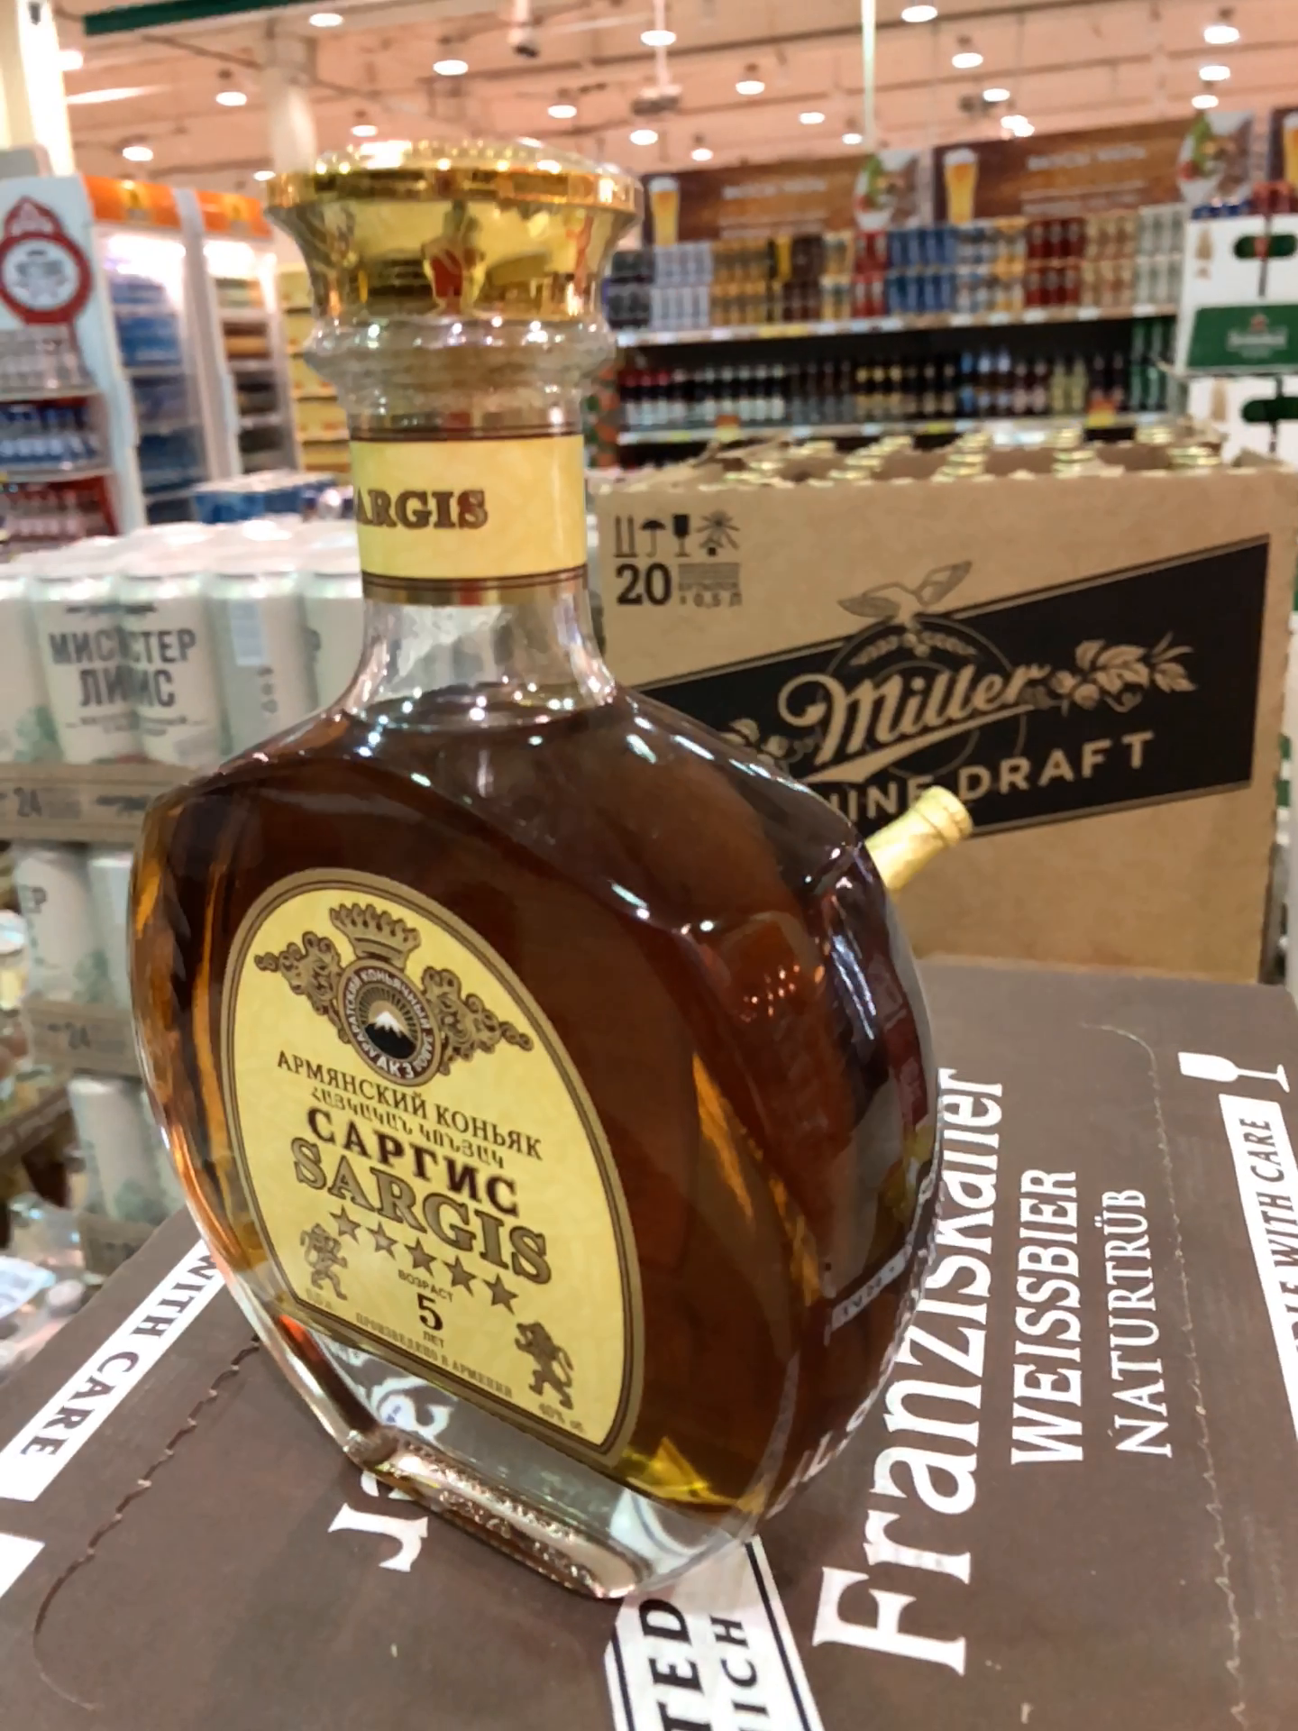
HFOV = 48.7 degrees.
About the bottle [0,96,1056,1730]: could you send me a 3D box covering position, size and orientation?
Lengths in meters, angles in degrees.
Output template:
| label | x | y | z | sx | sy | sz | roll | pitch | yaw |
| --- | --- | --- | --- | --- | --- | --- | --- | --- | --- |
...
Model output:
| label | x | y | z | sx | sy | sz | roll | pitch | yaw |
| --- | --- | --- | --- | --- | --- | --- | --- | --- | --- |
| bottle | -0.020 | 0.009 | 0.226 | 0.140 | 0.209 | 0.070 | 9 | 23 | 33 |
